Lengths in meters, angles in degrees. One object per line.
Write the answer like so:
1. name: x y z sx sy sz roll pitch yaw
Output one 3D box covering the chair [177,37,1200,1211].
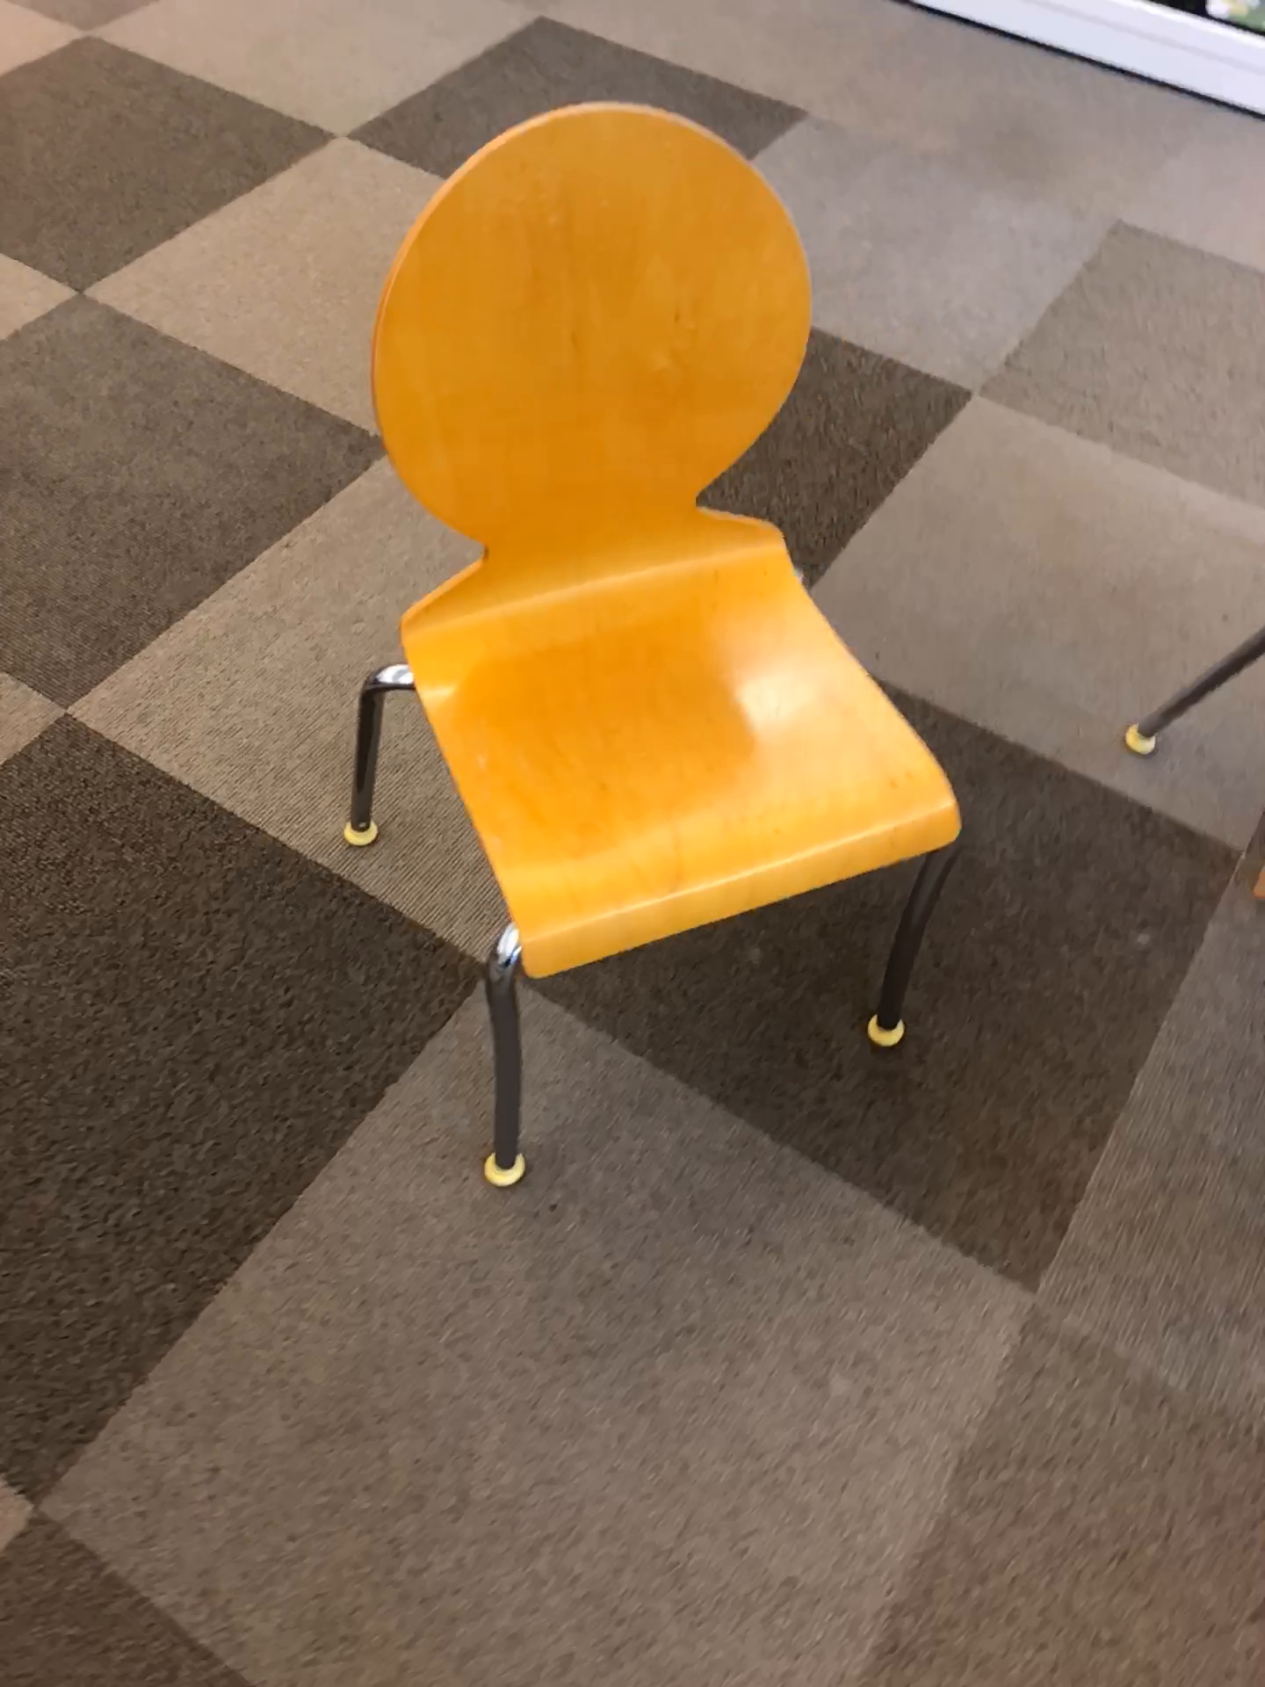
1. chair: -0.010 -0.136 1.119 0.465 0.723 0.471 -16 56 -16
